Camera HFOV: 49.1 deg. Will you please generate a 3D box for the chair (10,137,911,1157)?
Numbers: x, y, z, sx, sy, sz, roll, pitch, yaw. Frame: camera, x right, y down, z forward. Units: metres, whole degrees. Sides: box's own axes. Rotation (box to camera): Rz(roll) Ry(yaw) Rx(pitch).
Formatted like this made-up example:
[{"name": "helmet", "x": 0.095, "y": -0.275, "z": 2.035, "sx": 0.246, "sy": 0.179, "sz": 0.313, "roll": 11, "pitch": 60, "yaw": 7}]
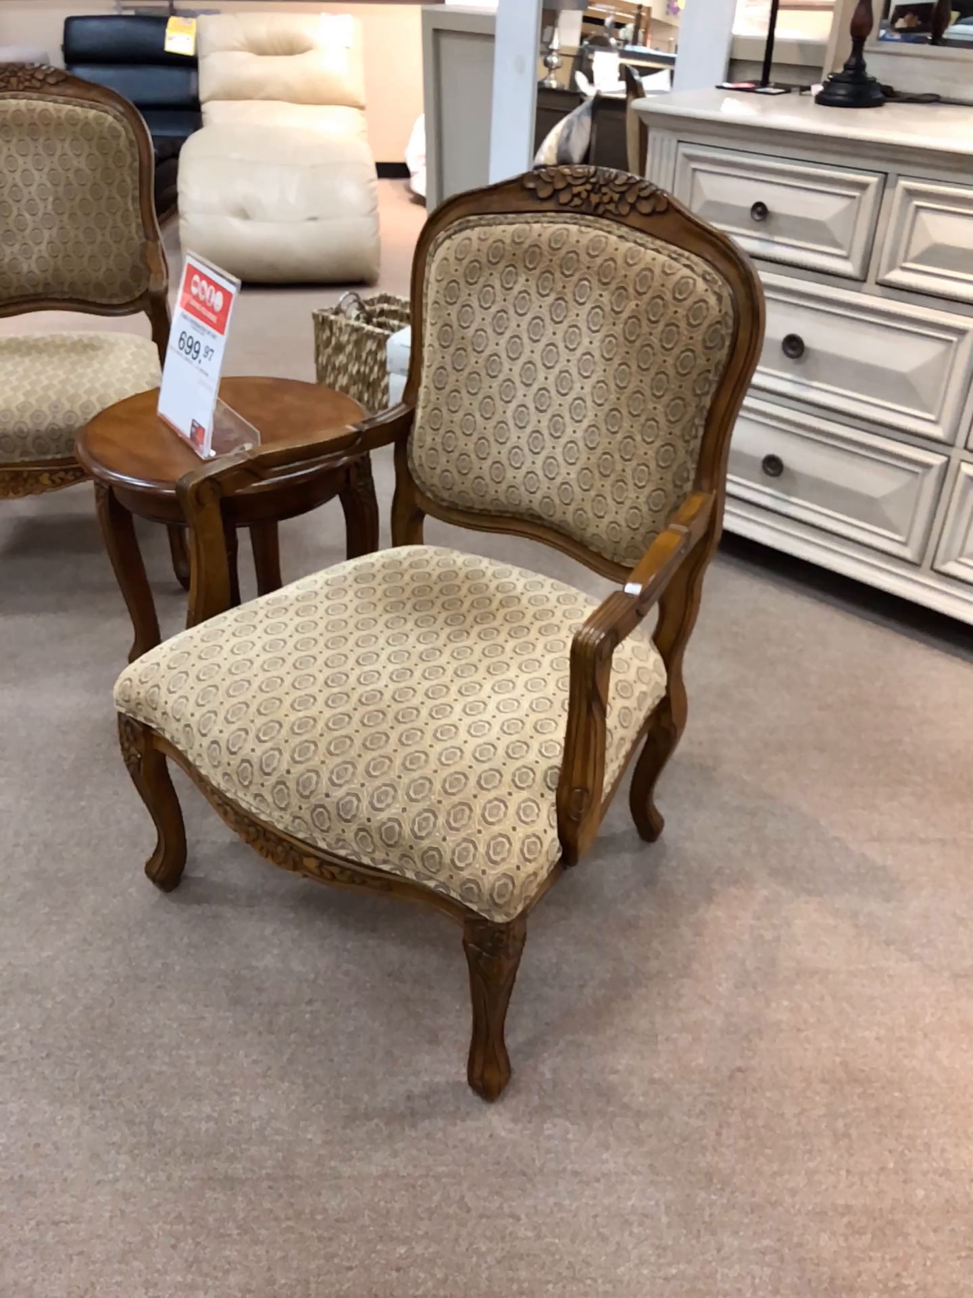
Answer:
[{"name": "chair", "x": -0.017, "y": -0.068, "z": 1.529, "sx": 0.782, "sy": 1.062, "sz": 0.703, "roll": 23, "pitch": 39, "yaw": 29}]
